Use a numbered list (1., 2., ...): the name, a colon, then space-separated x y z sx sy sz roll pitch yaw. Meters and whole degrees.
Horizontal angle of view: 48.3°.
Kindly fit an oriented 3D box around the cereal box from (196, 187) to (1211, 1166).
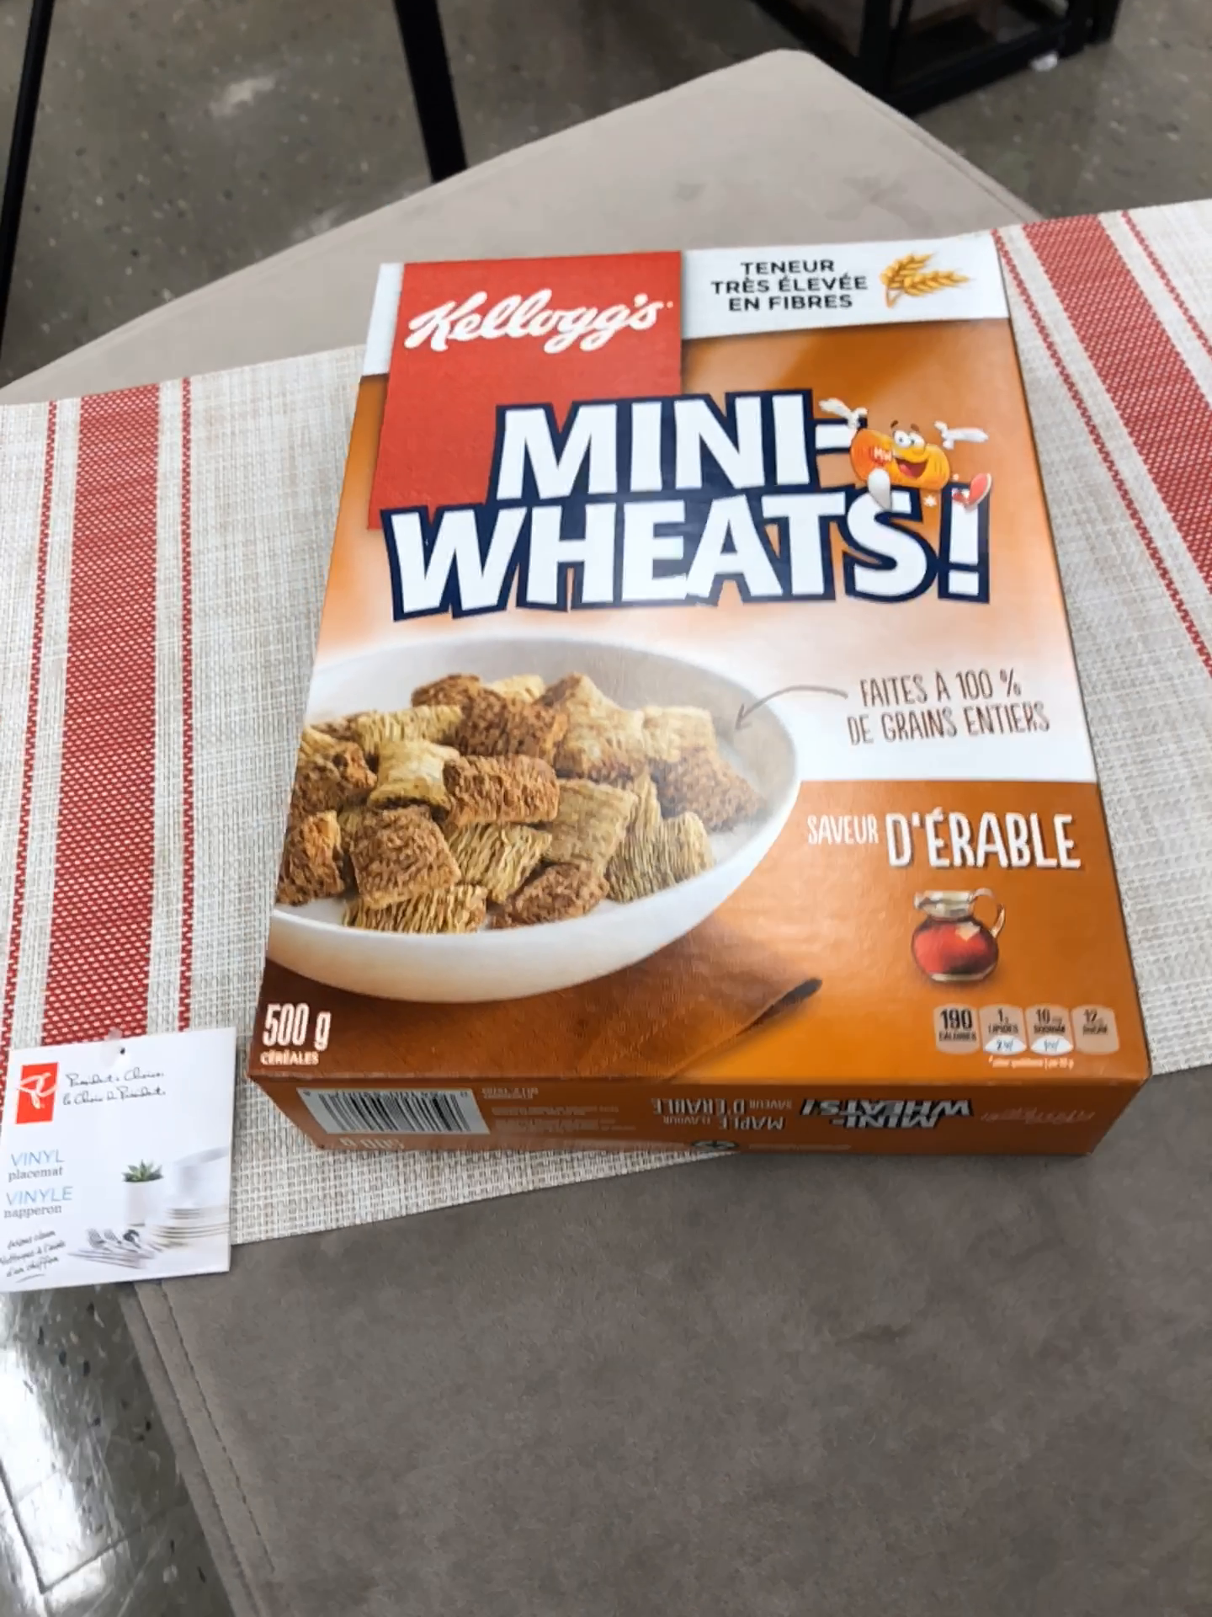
1. cereal box: 0.023 -0.050 0.375 0.210 0.060 0.281 -1 60 5
